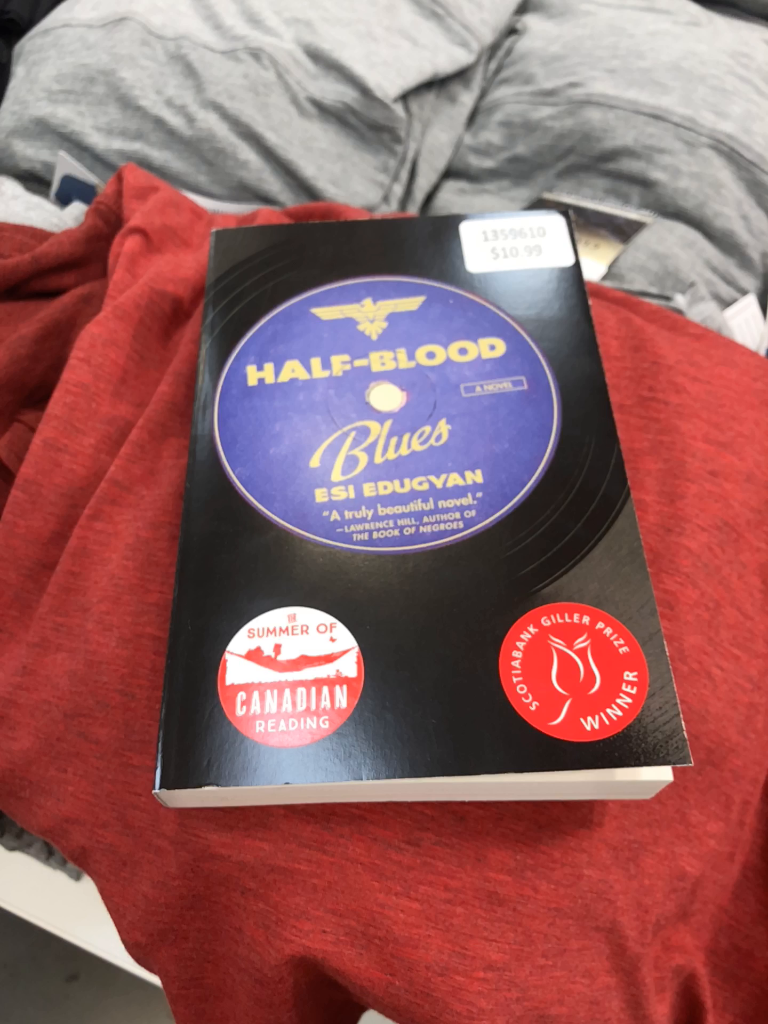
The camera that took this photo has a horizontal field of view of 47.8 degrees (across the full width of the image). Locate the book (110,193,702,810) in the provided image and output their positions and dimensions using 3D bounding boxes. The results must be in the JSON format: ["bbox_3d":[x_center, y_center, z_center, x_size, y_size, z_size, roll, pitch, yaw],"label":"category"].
[{"bbox_3d":[0.004,-0.020,0.282,0.146,0.025,0.220,0,57,-3],"label":"book"}]
